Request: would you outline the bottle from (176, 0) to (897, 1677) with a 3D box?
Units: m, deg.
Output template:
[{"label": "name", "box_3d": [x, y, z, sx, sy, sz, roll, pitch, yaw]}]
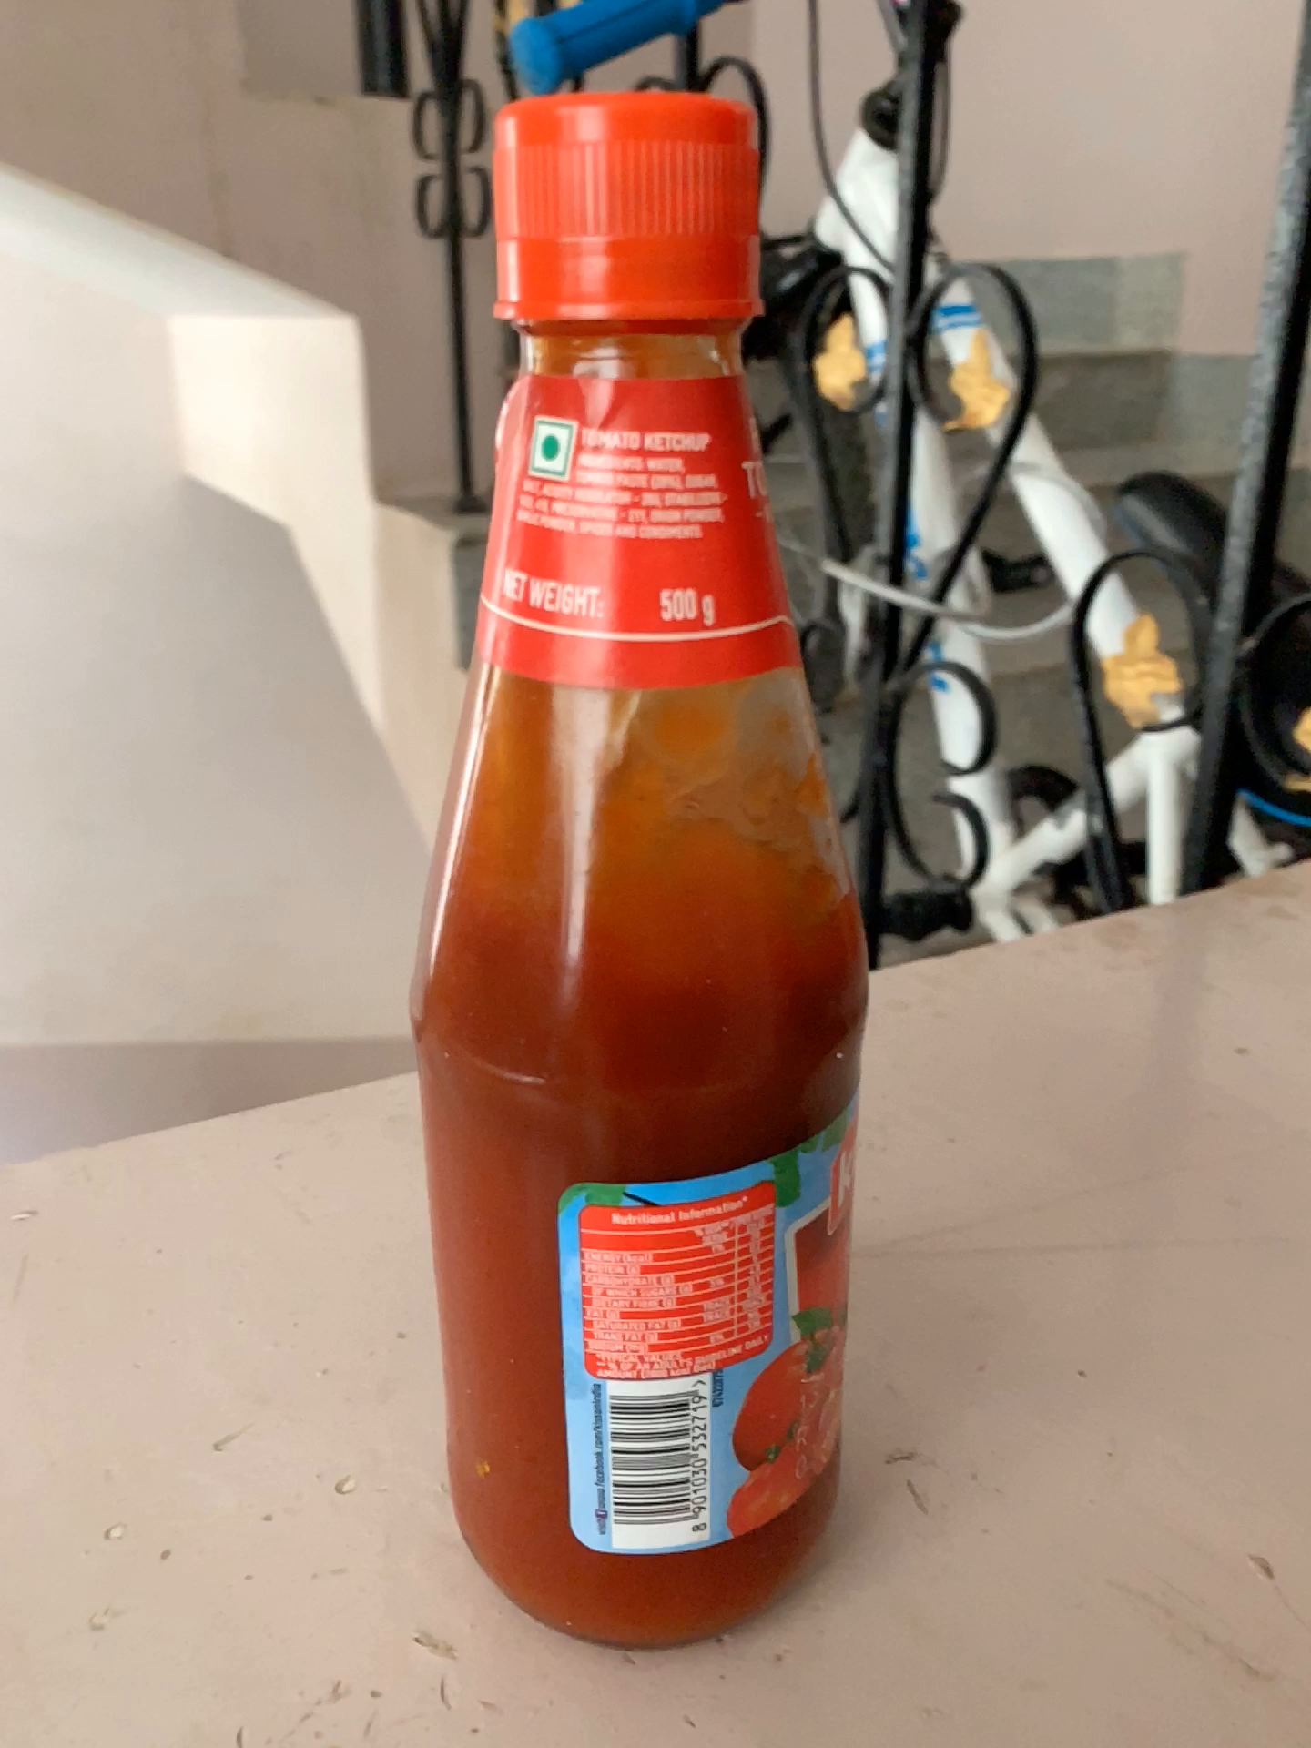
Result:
[{"label": "bottle", "box_3d": [-0.007, 0.005, 0.204, 0.070, 0.218, 0.070, 0, 22, 0]}]
